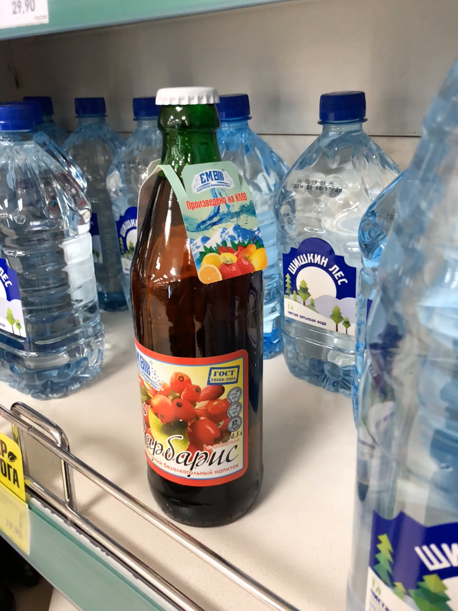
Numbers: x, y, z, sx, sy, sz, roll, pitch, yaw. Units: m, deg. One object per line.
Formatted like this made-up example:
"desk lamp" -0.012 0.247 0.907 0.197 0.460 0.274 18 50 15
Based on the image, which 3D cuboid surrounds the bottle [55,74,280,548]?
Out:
"bottle" -0.023 0.006 0.262 0.073 0.222 0.057 16 30 39
